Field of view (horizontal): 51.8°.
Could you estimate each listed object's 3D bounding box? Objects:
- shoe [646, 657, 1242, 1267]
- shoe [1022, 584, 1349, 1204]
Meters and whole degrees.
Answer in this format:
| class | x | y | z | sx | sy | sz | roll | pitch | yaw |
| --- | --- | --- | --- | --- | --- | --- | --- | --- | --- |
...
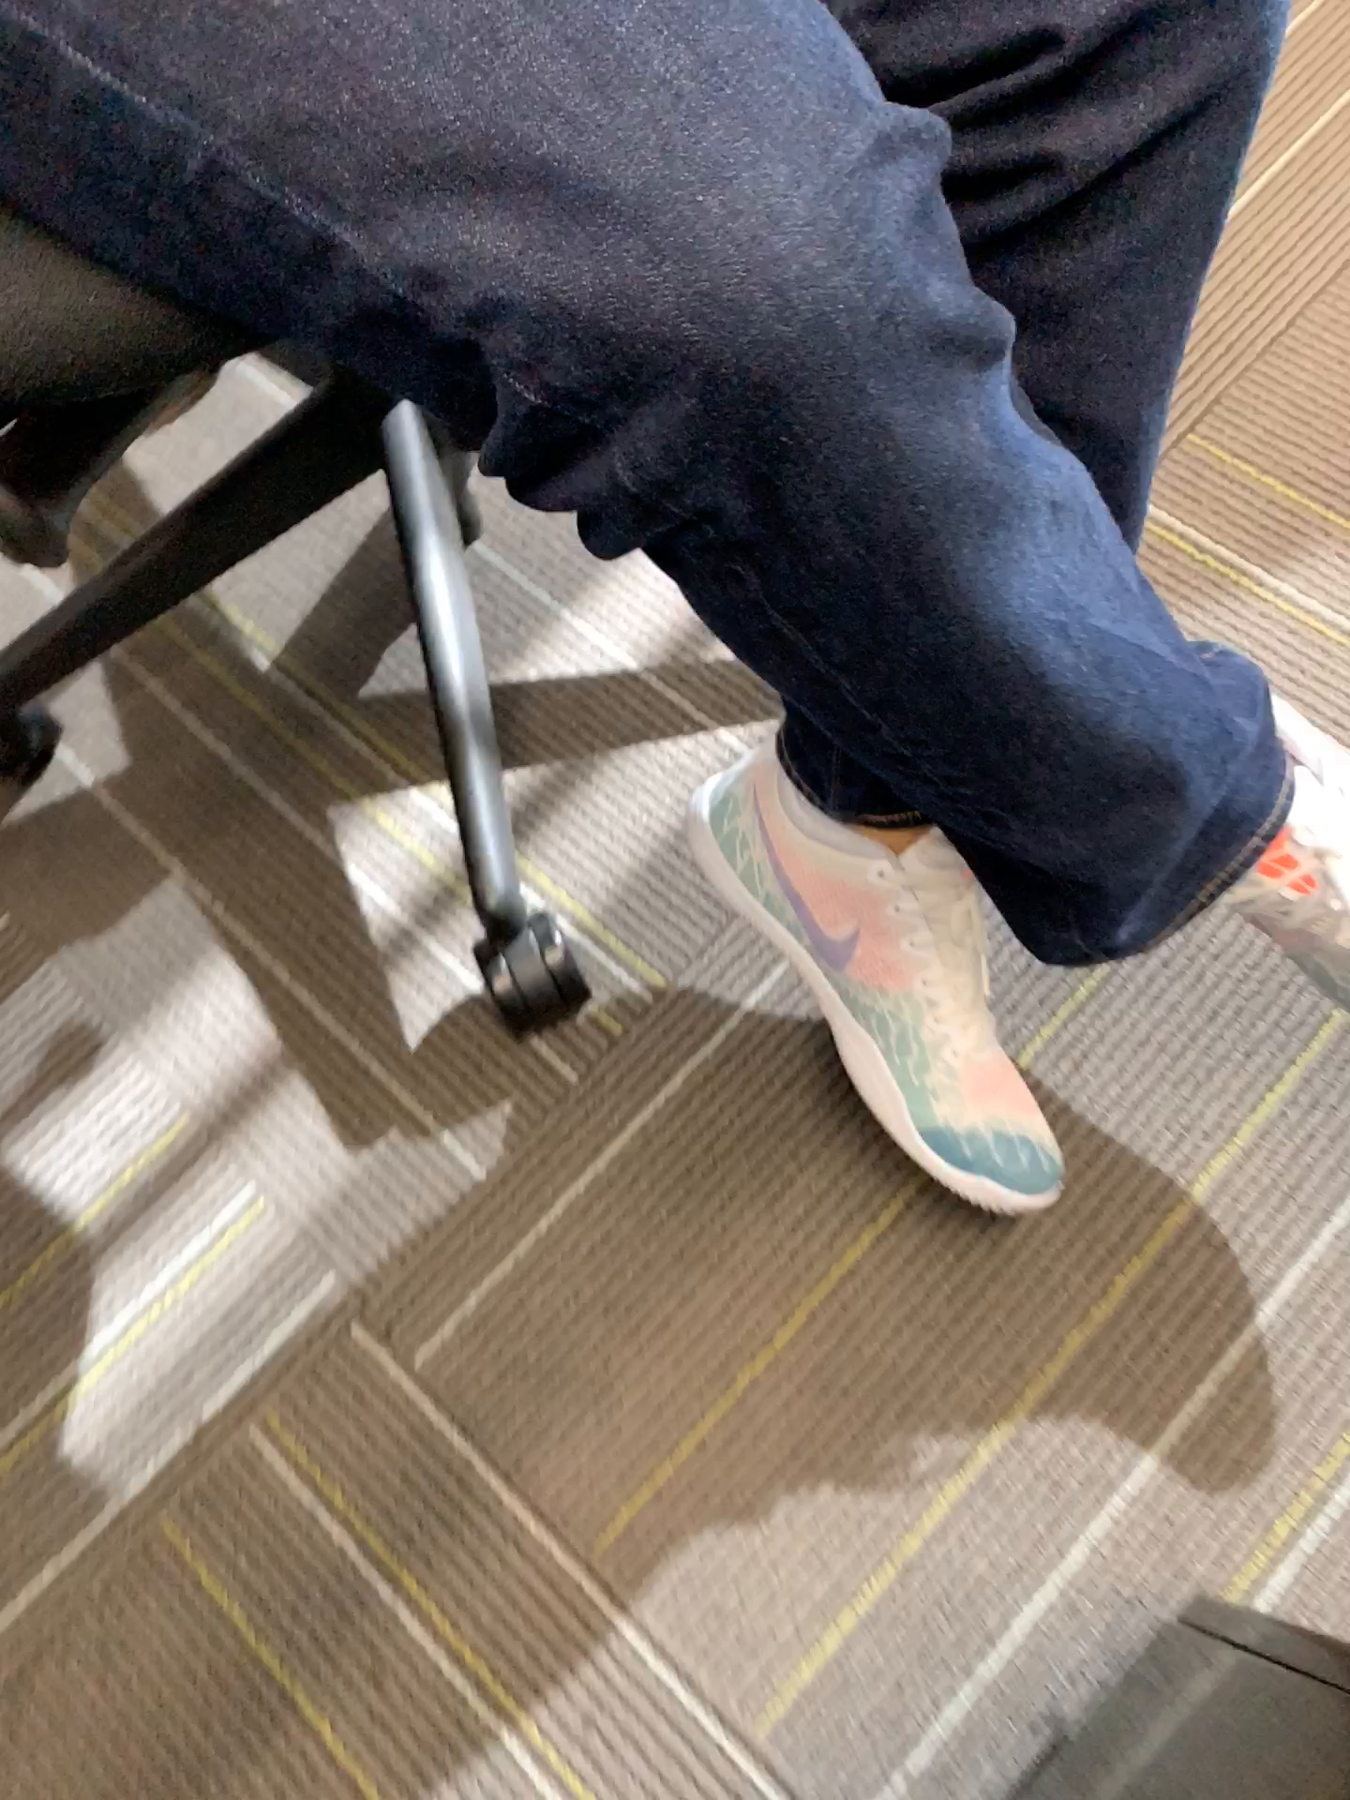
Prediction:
| class | x | y | z | sx | sy | sz | roll | pitch | yaw |
| --- | --- | --- | --- | --- | --- | --- | --- | --- | --- |
| shoe | 0.124 | 0.021 | 0.715 | 0.115 | 0.109 | 0.286 | -22 | 61 | -33 |
| shoe | 0.314 | -0.013 | 0.645 | 0.265 | 0.108 | 0.113 | 46 | 40 | 17 |
